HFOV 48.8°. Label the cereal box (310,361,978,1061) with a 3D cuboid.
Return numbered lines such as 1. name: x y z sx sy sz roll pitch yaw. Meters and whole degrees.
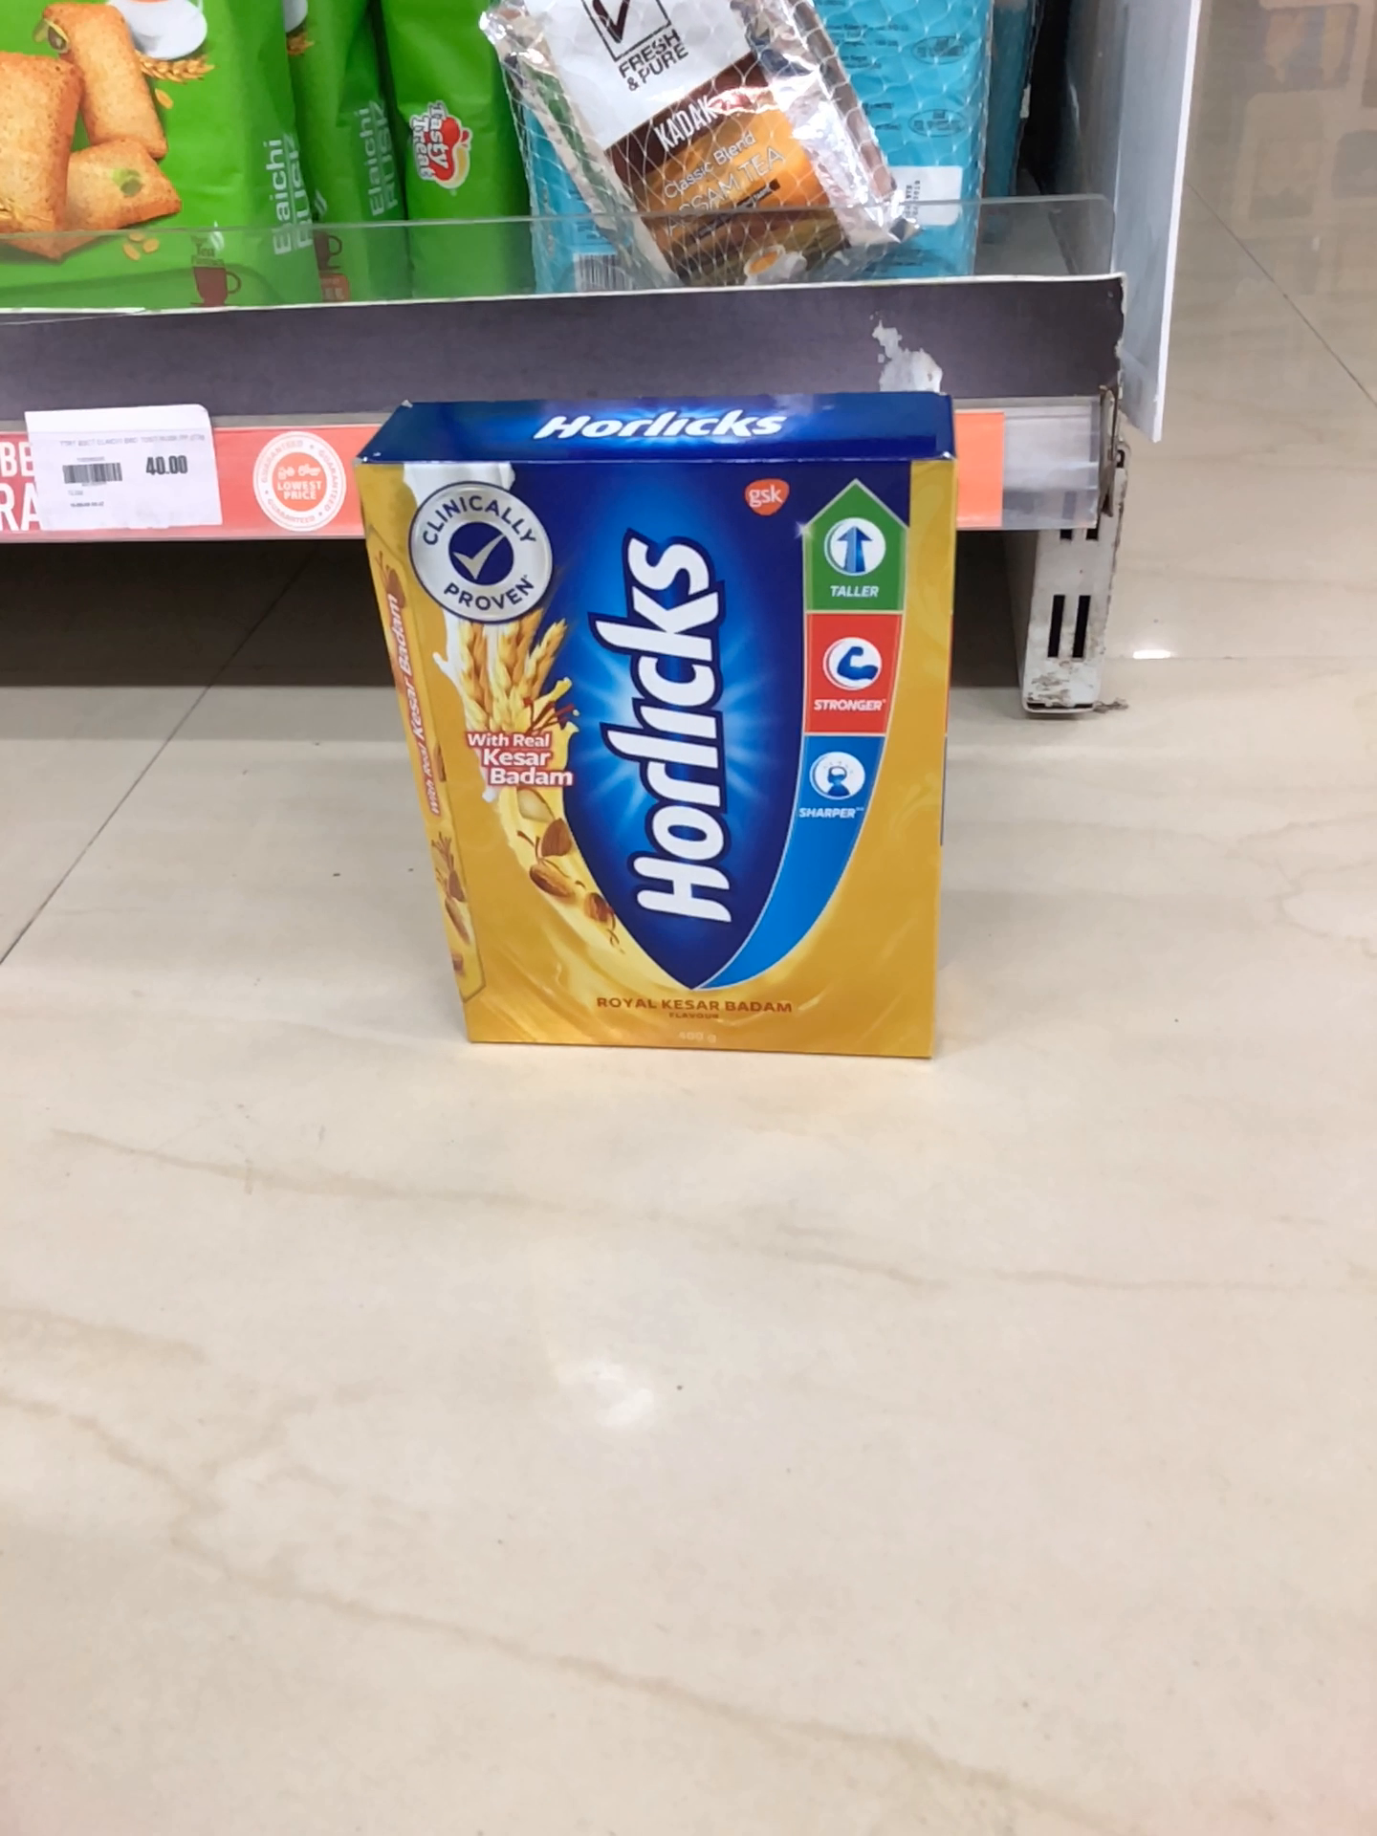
1. cereal box: -0.004 -0.049 0.408 0.150 0.179 0.050 2 36 7
